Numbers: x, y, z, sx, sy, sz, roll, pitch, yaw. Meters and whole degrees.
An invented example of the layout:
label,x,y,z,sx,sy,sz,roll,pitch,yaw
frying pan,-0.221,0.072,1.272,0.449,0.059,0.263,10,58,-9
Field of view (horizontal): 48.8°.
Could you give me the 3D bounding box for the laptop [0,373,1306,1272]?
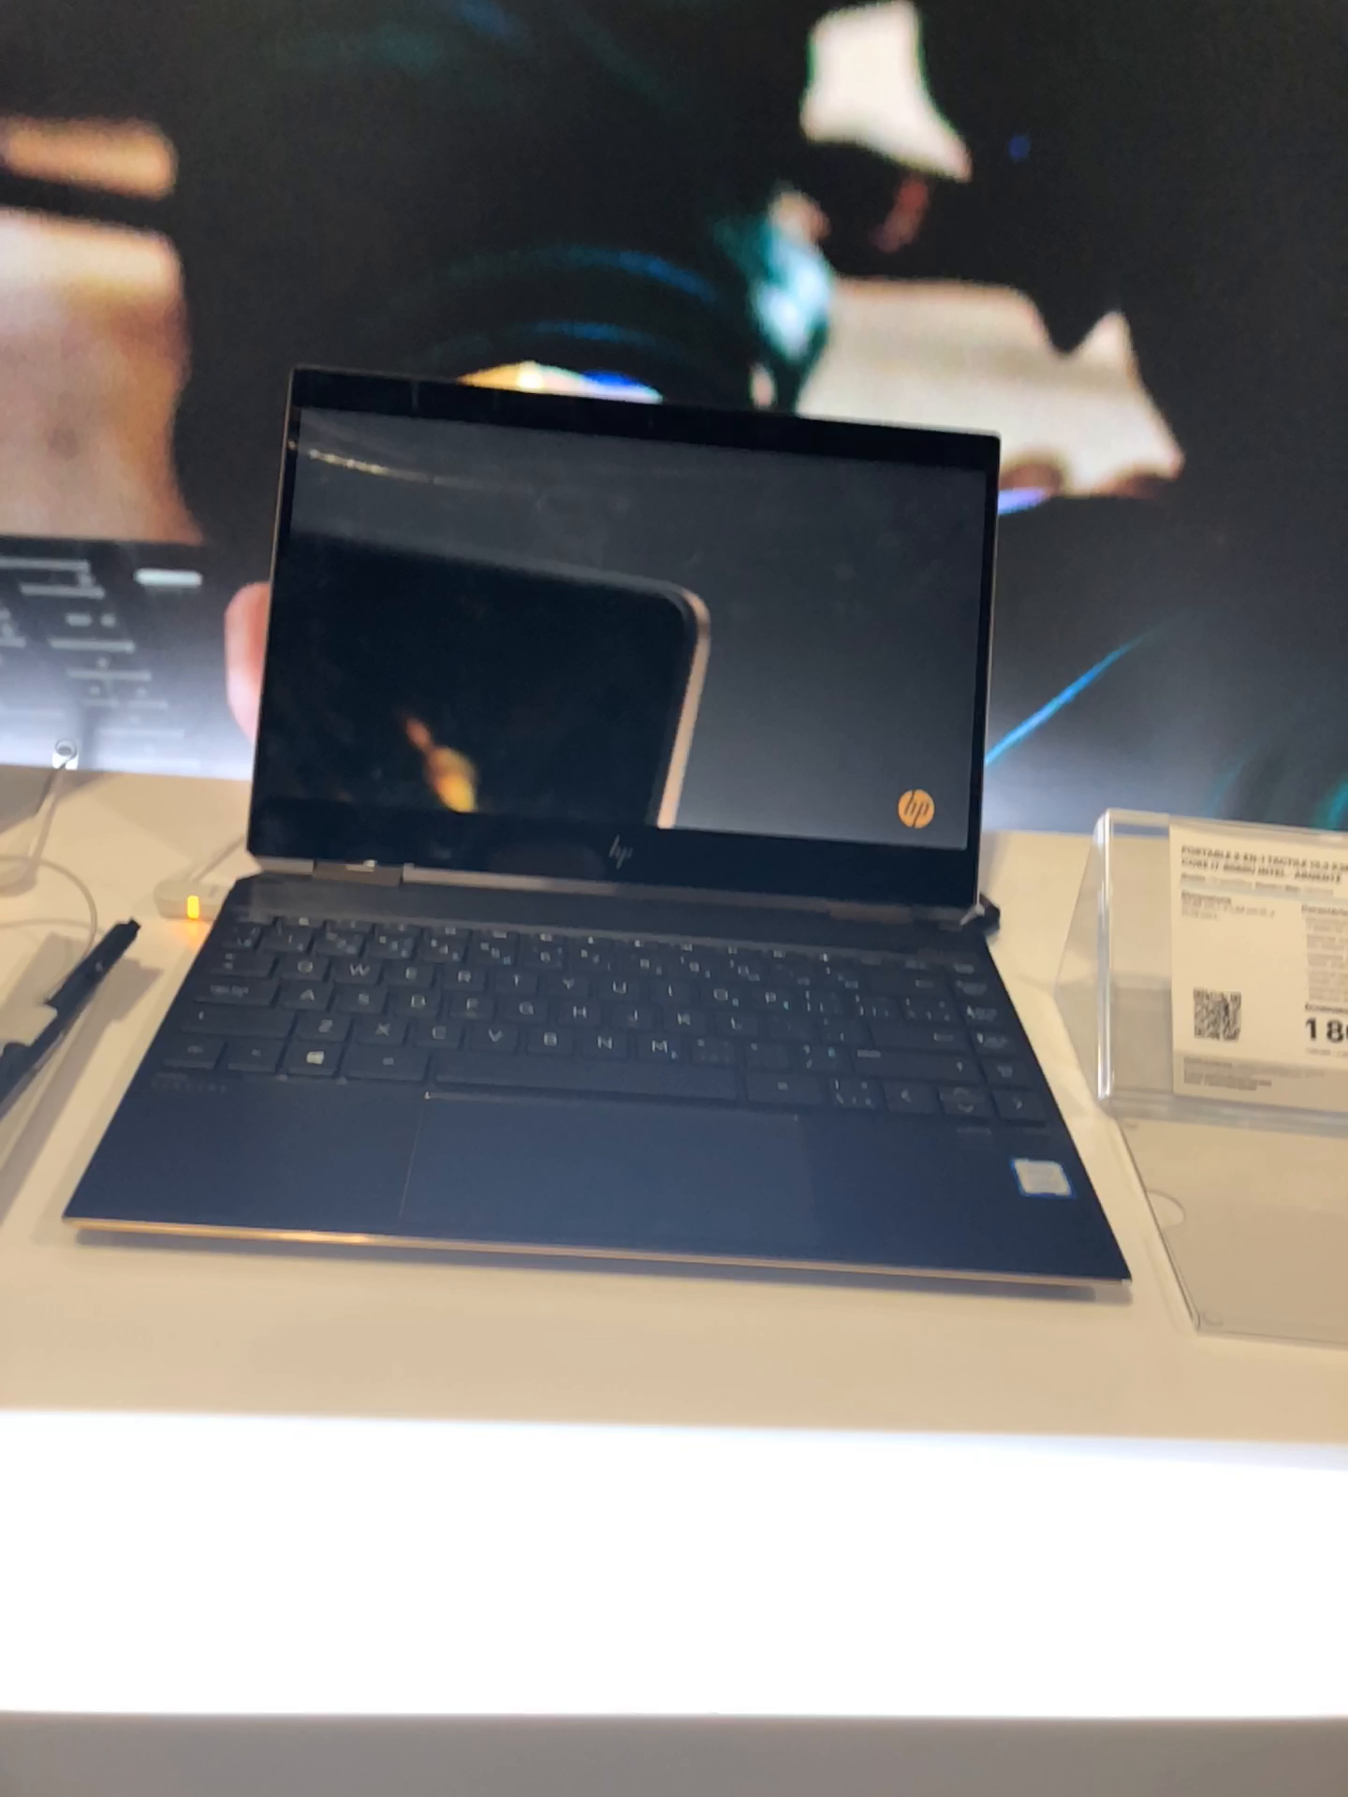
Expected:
label,x,y,z,sx,sy,sz,roll,pitch,yaw
laptop,-0.012,-0.059,0.534,0.305,0.172,0.347,4,28,-4
